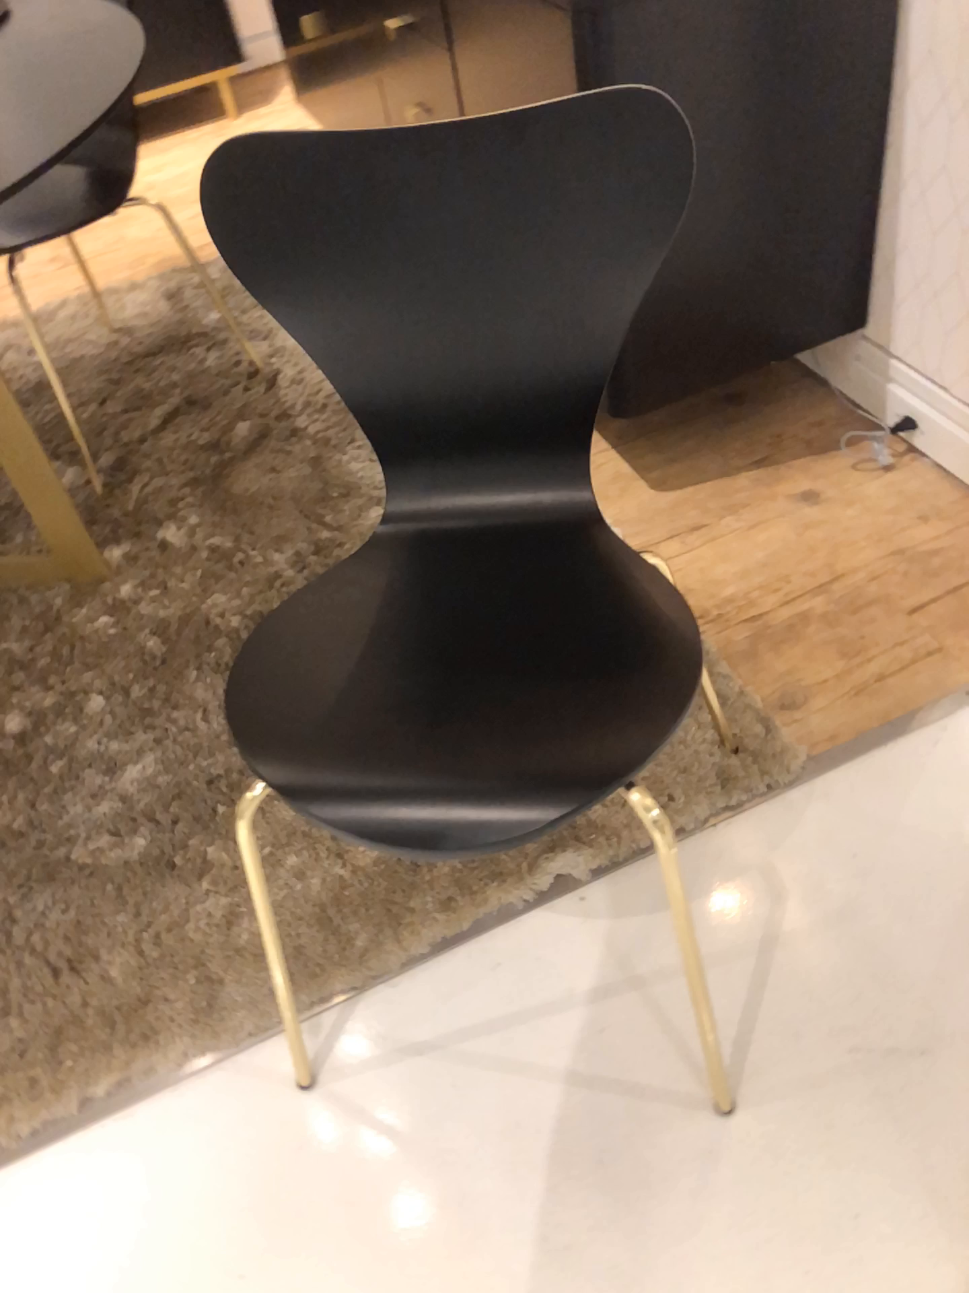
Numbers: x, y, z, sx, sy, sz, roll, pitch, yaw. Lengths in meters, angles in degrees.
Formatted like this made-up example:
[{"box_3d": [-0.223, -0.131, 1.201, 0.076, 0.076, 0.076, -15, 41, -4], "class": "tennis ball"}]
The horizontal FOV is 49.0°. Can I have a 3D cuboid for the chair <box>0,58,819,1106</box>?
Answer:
[{"box_3d": [-0.009, -0.004, 0.961, 0.500, 0.755, 0.503, -1, 46, 11], "class": "chair"}]
